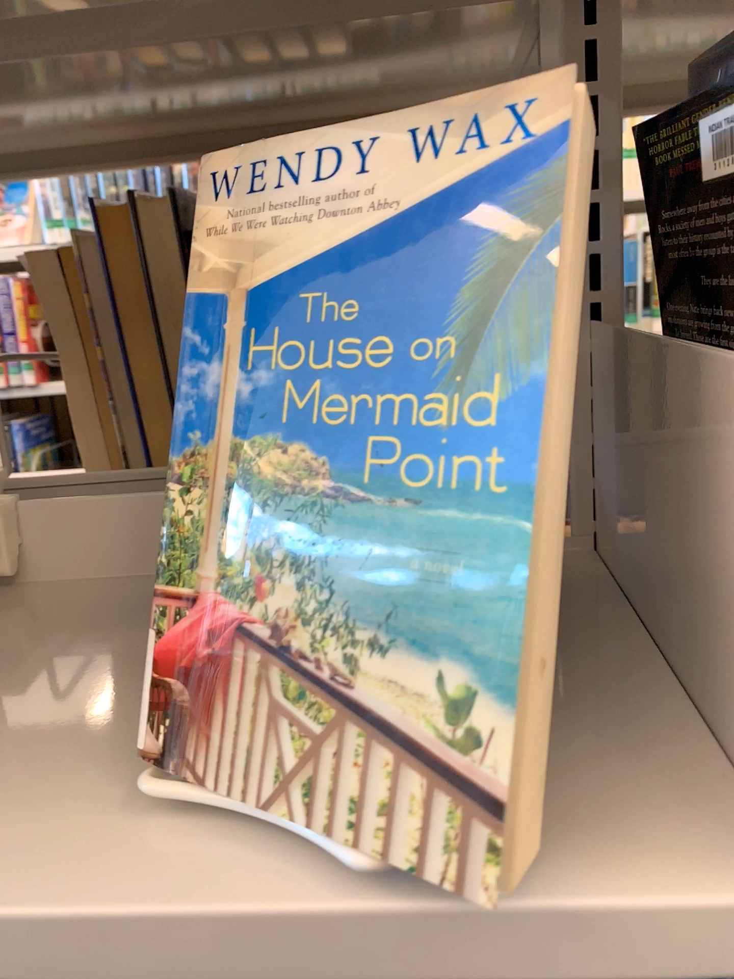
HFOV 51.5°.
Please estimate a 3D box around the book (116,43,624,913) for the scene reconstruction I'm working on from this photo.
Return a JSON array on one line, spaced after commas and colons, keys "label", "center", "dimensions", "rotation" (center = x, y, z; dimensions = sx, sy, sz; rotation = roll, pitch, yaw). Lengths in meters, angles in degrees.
[{"label": "book", "center": [-0.004, -0.007, 0.223], "dimensions": [0.131, 0.193, 0.043], "rotation": [4, -3, 35]}]
